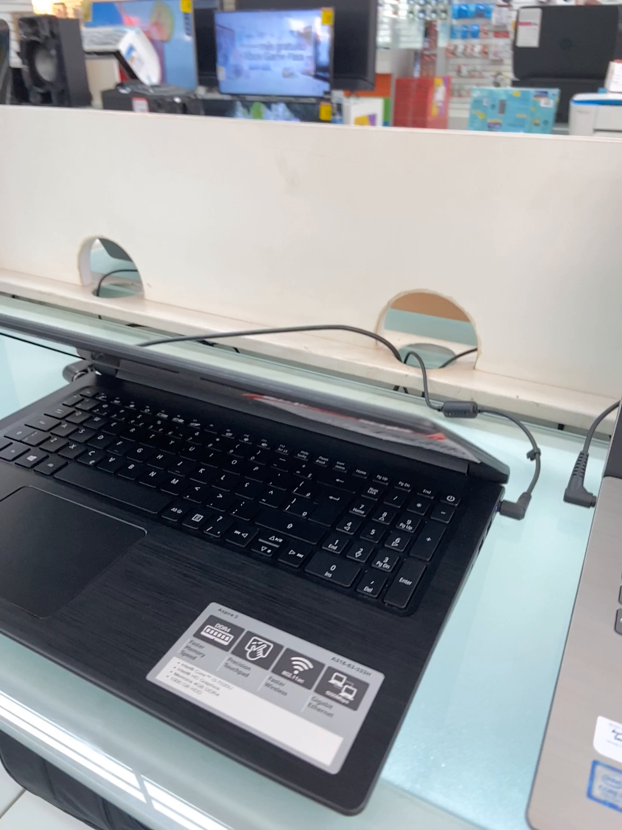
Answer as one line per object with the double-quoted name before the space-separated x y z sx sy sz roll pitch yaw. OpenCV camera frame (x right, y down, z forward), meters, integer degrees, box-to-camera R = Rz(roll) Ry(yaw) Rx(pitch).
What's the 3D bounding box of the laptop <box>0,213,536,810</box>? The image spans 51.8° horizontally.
"laptop" -0.094 -0.006 0.370 0.367 0.142 0.233 14 32 25
